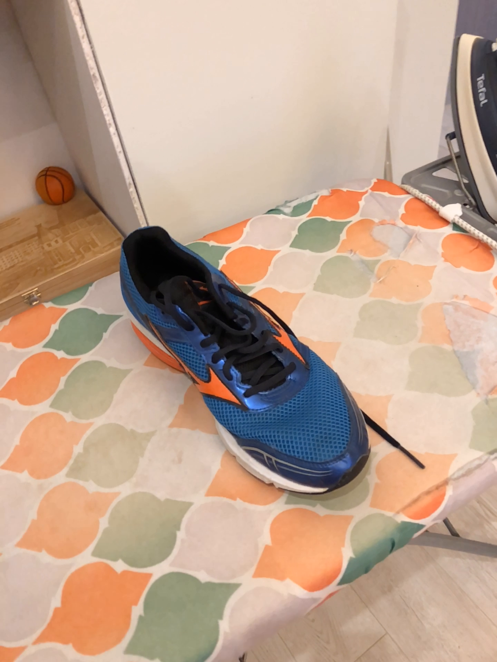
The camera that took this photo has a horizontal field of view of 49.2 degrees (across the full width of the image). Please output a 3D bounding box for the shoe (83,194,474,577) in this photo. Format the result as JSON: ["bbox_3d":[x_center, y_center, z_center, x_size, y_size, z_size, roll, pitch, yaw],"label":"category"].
[{"bbox_3d":[0.005,0.022,0.450,0.120,0.109,0.311,-35,53,-20],"label":"shoe"}]
